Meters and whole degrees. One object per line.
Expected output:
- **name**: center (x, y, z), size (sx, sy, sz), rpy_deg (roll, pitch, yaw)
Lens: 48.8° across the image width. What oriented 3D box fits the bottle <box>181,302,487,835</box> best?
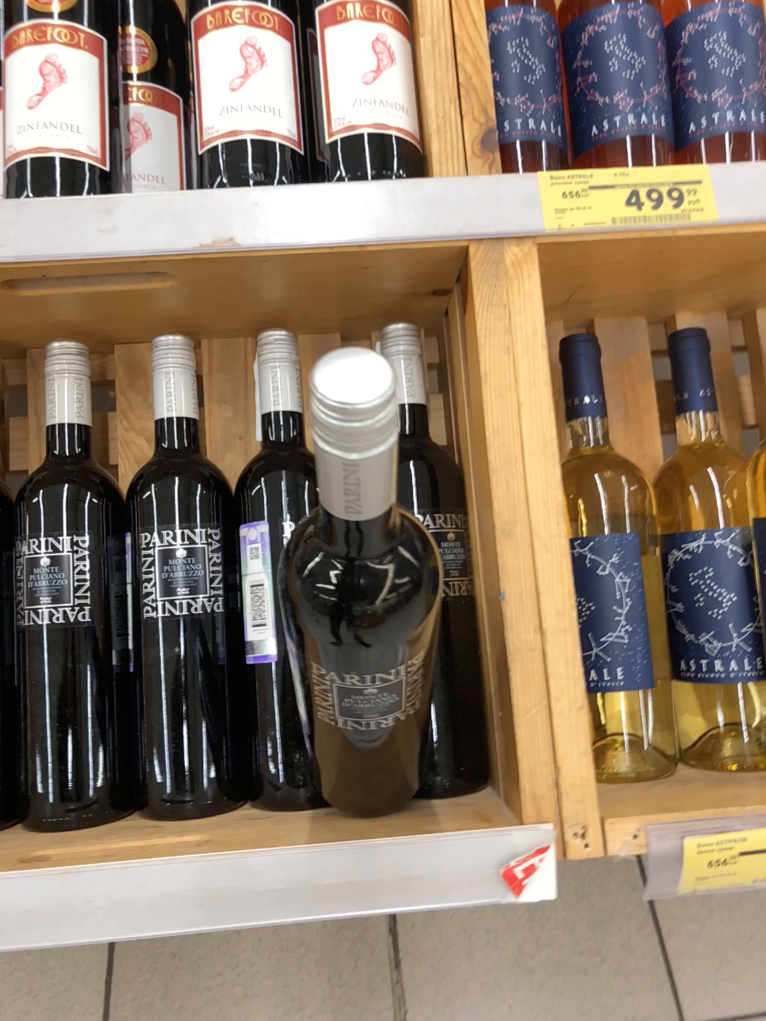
- **bottle**: center (-0.013, 0.050, 0.379), size (0.090, 0.279, 0.080), rpy_deg (4, 49, 2)
